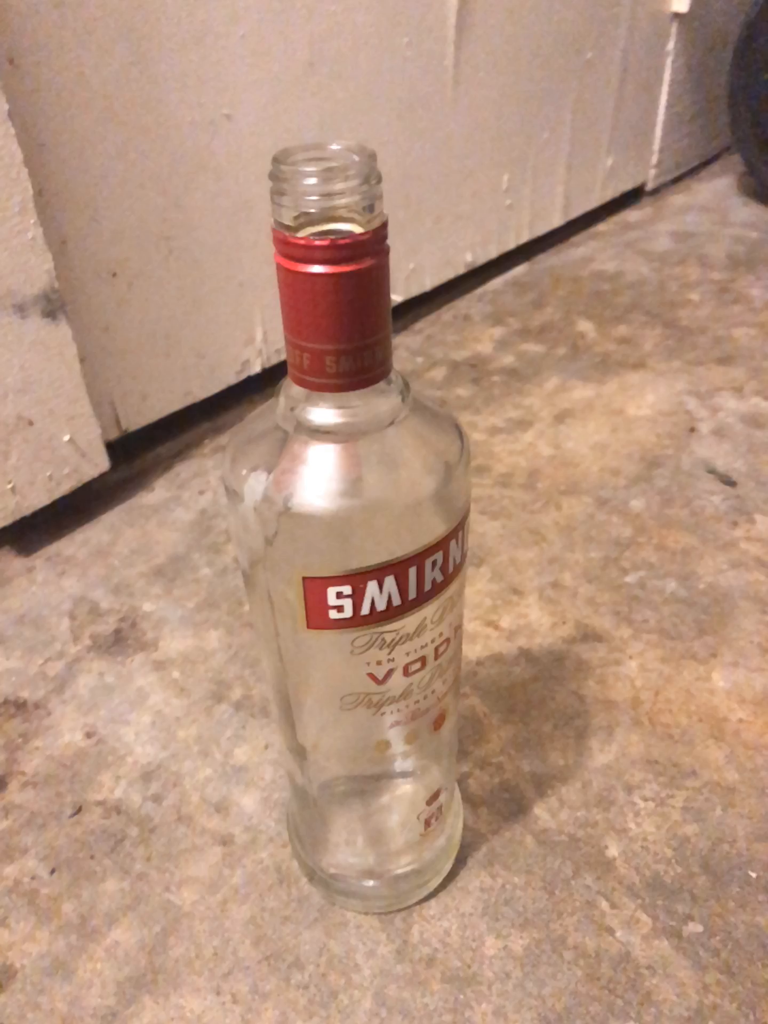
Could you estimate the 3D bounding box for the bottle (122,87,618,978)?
[{"bbox_3d":[-0.001,0.030,0.281,0.080,0.288,0.080,-1,38,1],"label":"bottle"}]
